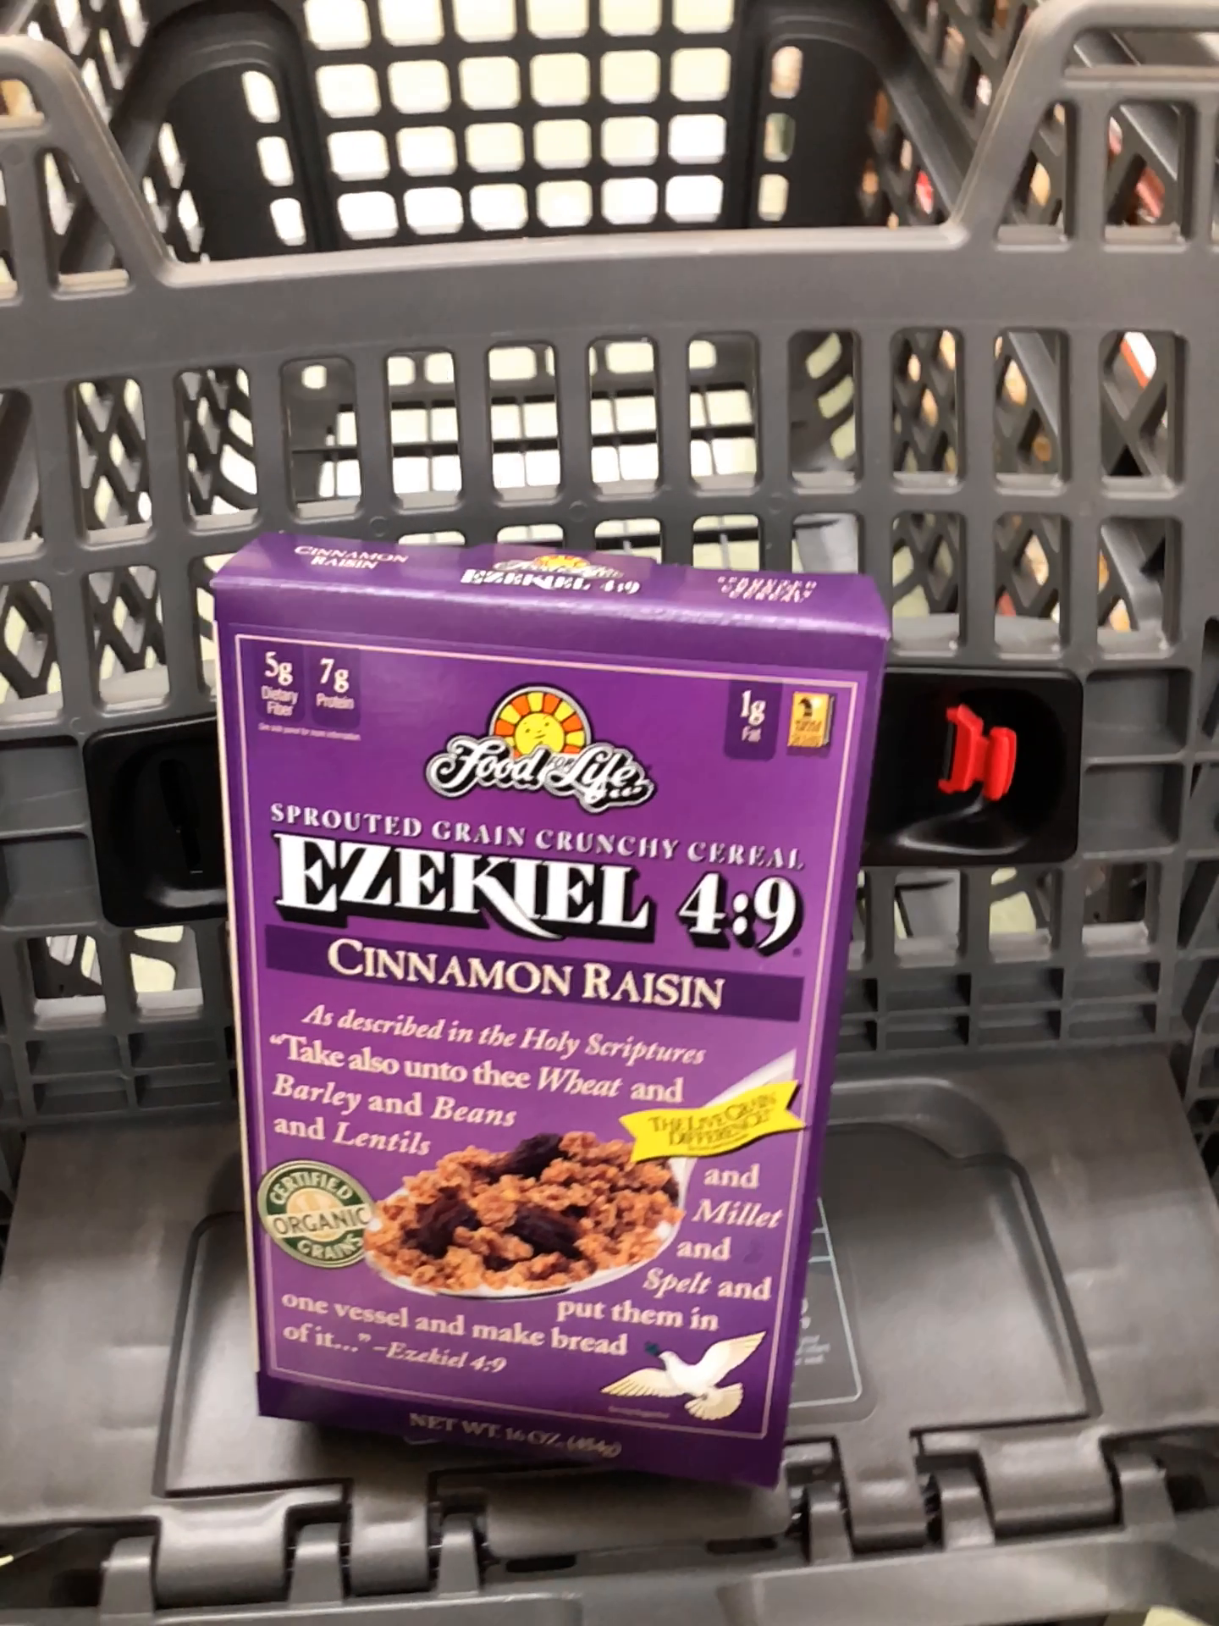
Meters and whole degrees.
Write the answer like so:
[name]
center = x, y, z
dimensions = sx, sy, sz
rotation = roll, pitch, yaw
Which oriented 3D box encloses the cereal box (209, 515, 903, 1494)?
[cereal box]
center = -0.017, 0.056, 0.362
dimensions = 0.150, 0.250, 0.060
rotation = 5, 22, 4
